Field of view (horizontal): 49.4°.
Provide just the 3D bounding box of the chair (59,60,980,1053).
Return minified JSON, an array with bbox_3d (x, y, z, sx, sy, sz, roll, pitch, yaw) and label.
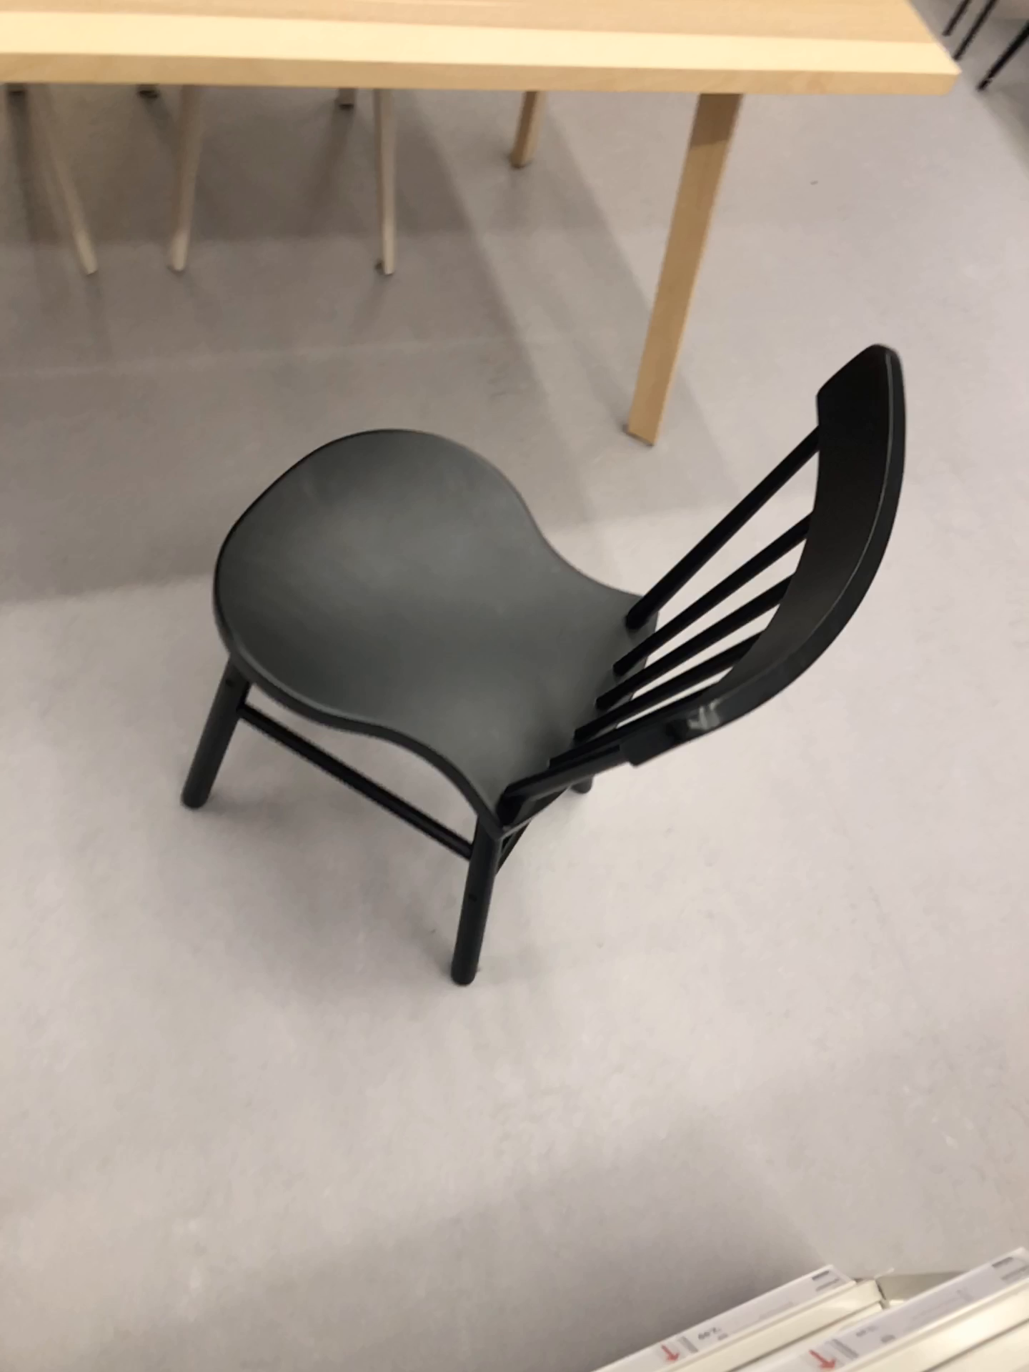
[{"bbox_3d":[-0.038,-0.062,1.121,0.520,0.717,0.482,34,58,5],"label":"chair"}]
